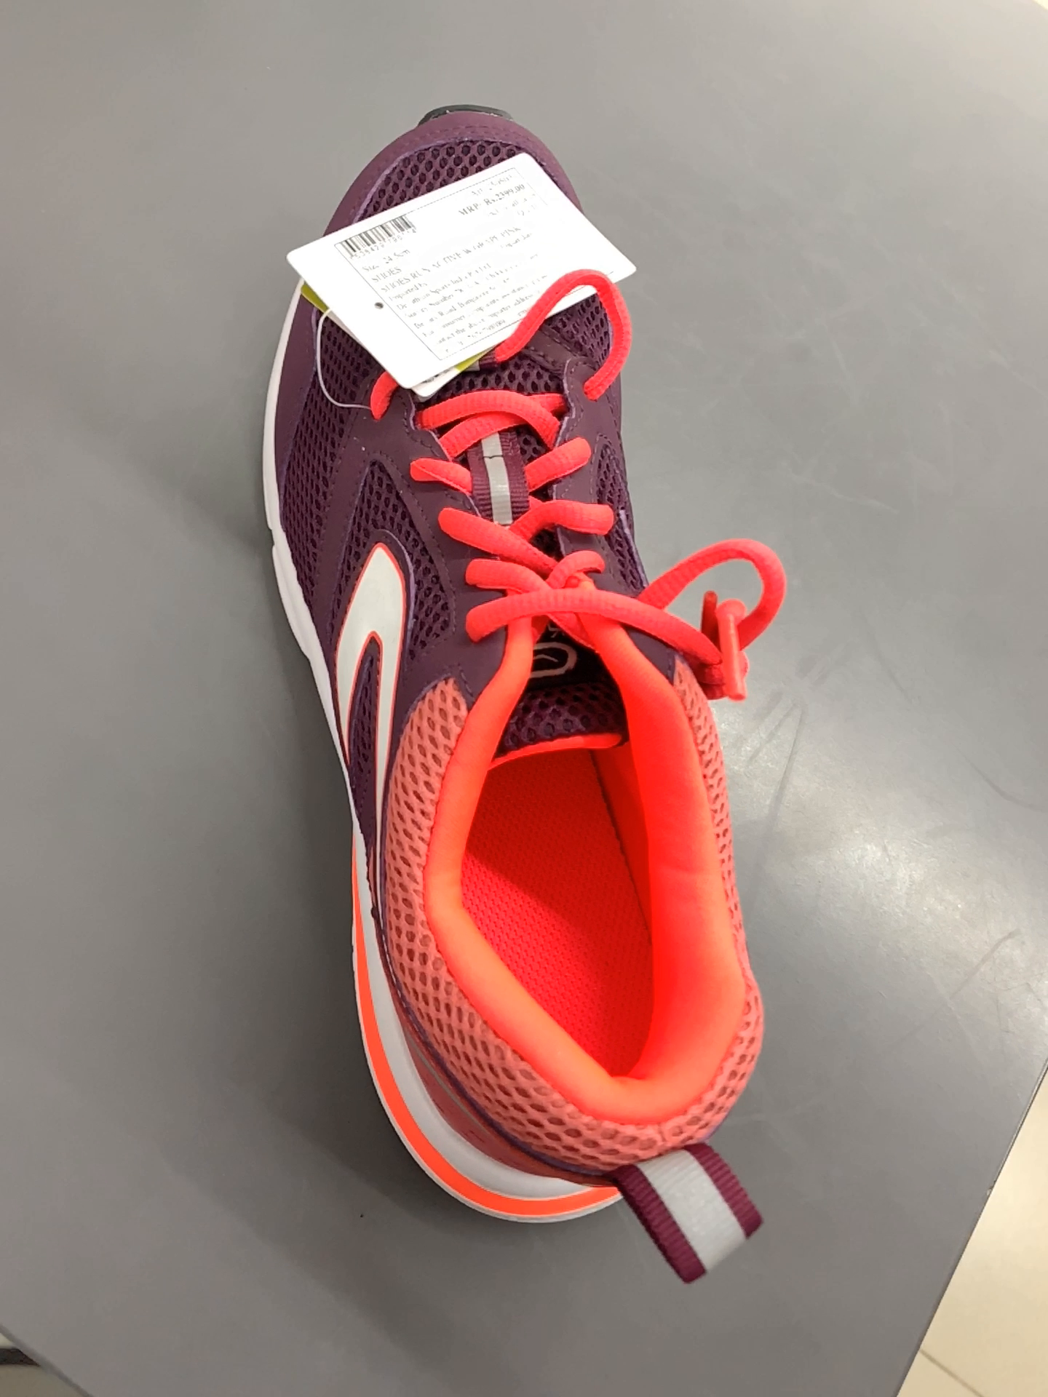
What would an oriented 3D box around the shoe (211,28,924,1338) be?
[{"bbox_3d":[-0.008,-0.017,0.278,0.110,0.100,0.280,-6,74,-12],"label":"shoe"}]
